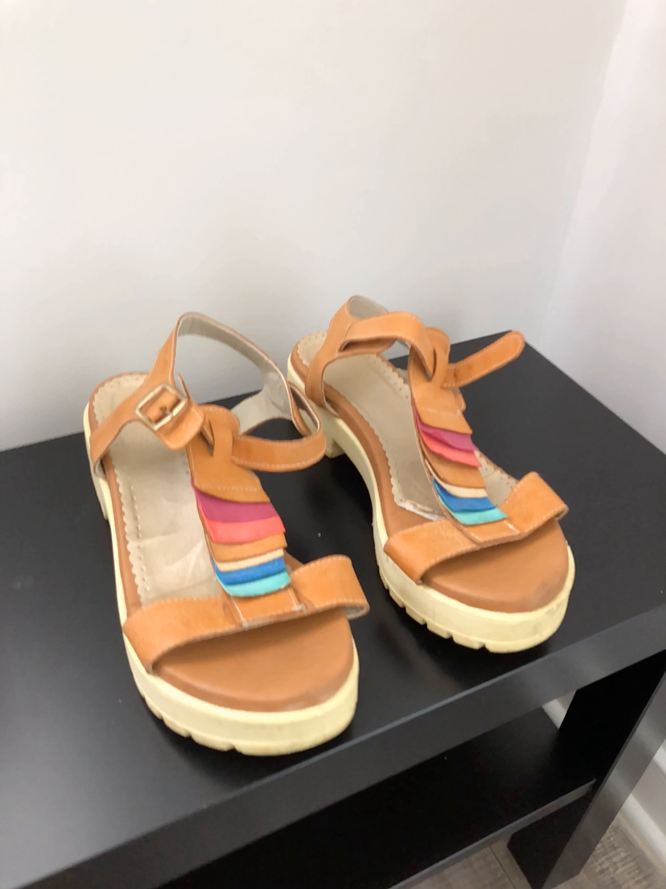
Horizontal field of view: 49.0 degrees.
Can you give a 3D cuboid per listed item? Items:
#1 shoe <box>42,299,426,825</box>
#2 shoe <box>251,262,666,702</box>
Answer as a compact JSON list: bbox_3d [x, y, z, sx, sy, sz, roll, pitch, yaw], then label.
[{"bbox_3d":[-0.065,0.030,0.360,0.100,0.083,0.248,-14,42,-20],"label":"shoe"},{"bbox_3d":[0.046,-0.004,0.395,0.100,0.077,0.248,-14,42,-20],"label":"shoe"}]
